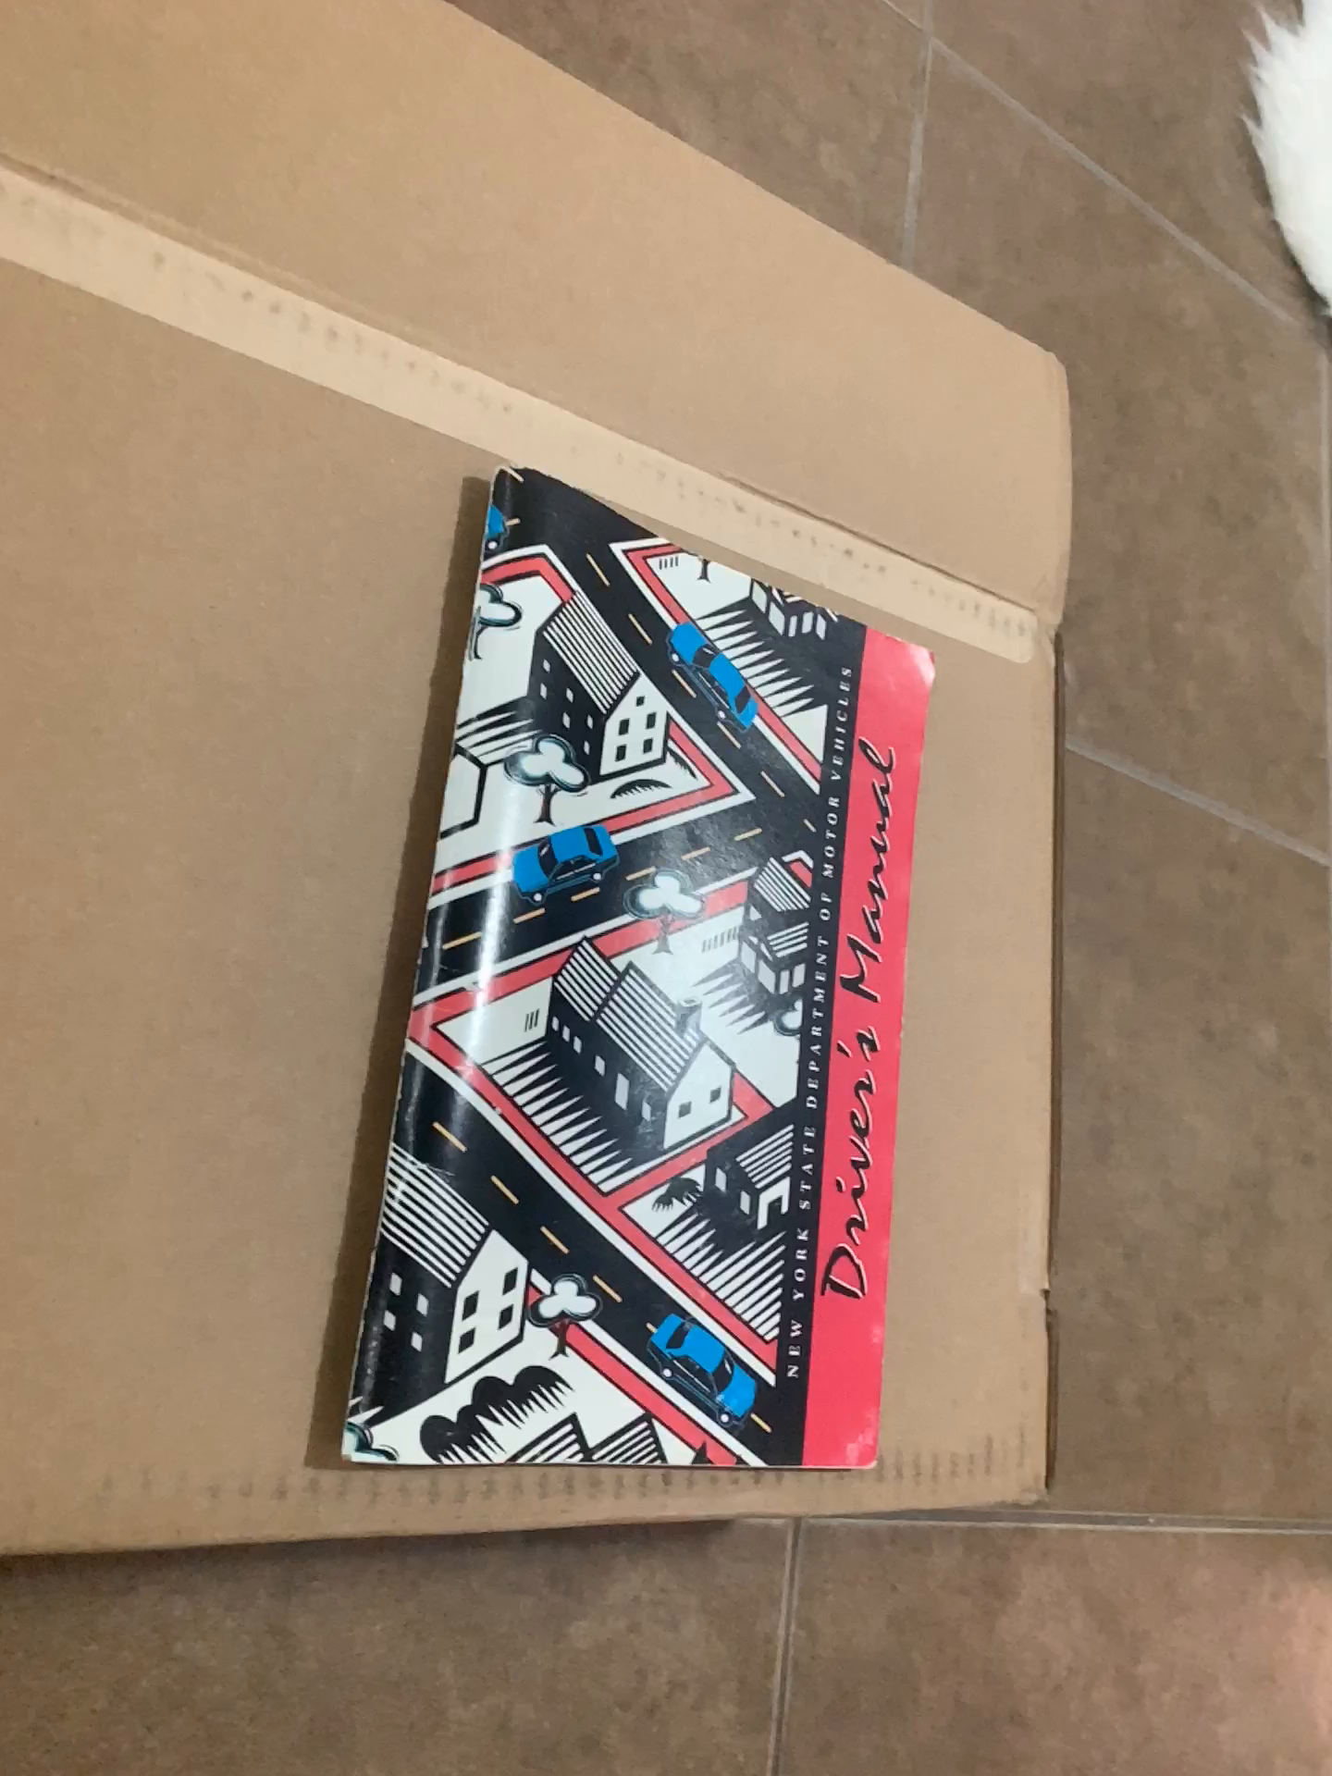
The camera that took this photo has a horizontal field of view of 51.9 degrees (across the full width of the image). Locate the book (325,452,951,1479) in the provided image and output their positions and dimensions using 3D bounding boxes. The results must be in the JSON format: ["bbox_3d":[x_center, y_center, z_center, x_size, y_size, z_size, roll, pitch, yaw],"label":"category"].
[{"bbox_3d":[0.007,0.021,0.309,0.134,0.013,0.207,16,72,-31],"label":"book"}]
